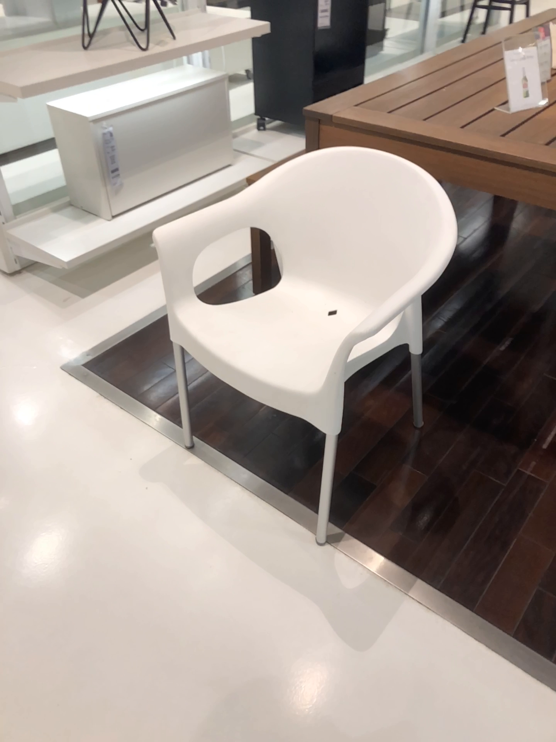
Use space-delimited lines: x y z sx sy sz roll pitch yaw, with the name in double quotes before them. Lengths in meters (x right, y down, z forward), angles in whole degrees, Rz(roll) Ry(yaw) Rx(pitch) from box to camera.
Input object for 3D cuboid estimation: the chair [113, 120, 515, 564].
"chair" 0.086 -0.104 1.441 0.582 0.704 0.563 27 47 32
